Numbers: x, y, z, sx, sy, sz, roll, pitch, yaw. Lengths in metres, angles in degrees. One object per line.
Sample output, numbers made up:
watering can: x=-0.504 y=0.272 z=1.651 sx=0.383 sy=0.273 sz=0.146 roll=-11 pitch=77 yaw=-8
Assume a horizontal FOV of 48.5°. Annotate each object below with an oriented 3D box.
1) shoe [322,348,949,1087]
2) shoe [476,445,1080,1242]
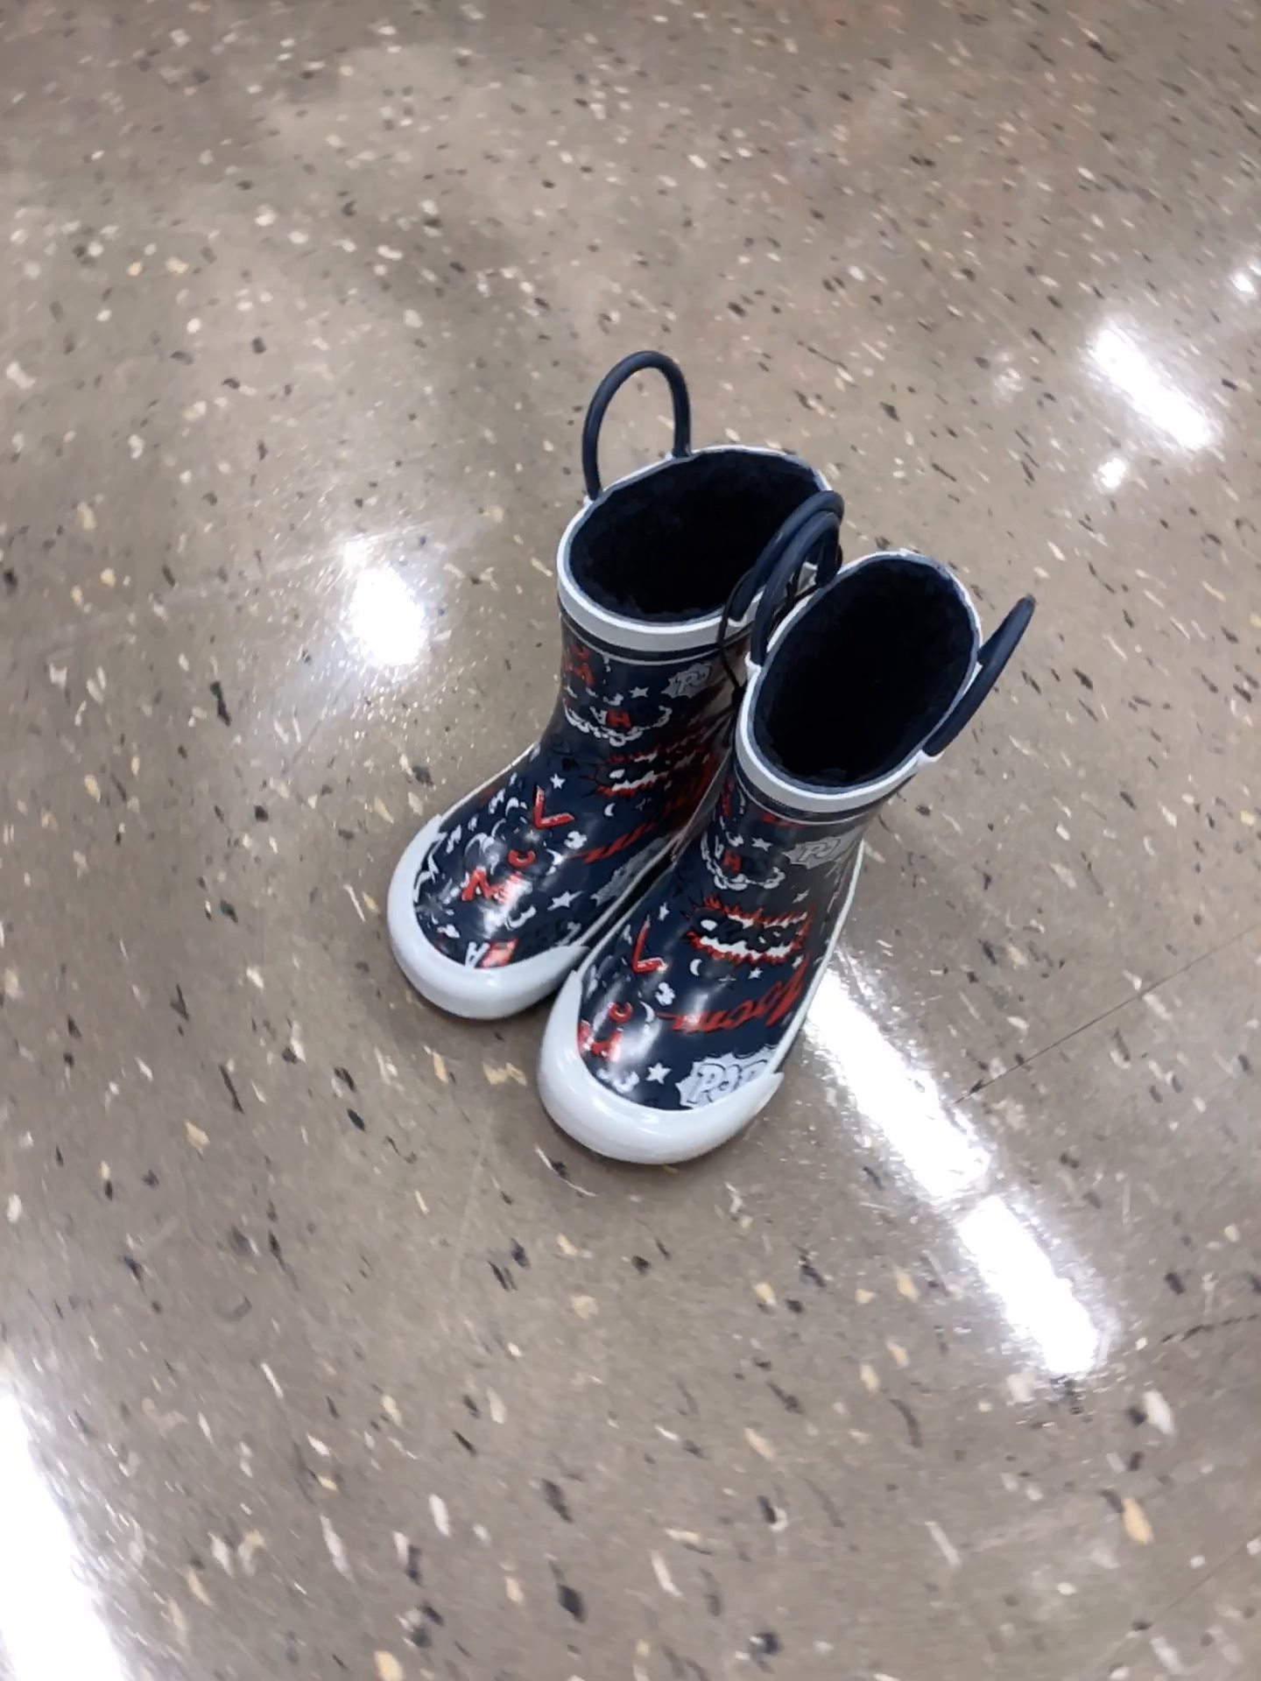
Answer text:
shoe: x=-0.004 y=-0.034 z=0.435 sx=0.080 sy=0.160 sz=0.160 roll=40 pitch=59 yaw=17
shoe: x=0.035 y=0.006 z=0.401 sx=0.080 sy=0.160 sz=0.150 roll=30 pitch=57 yaw=10
